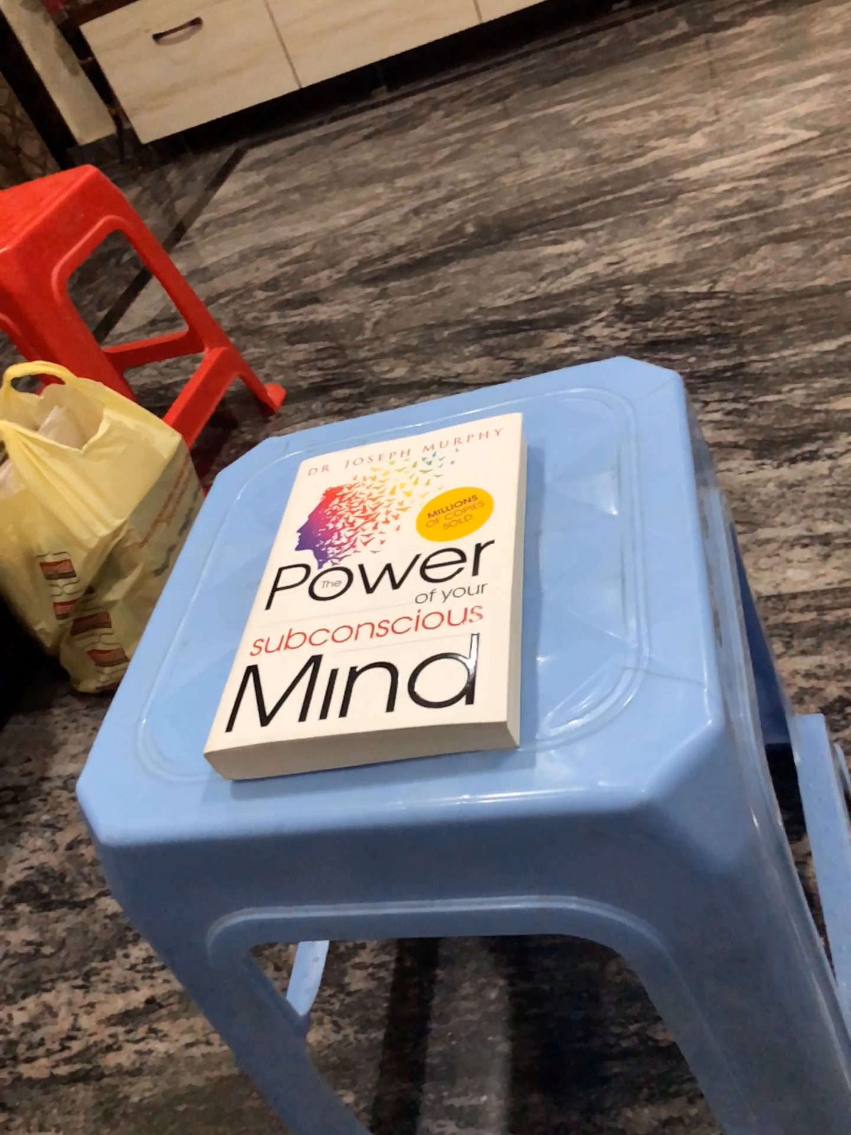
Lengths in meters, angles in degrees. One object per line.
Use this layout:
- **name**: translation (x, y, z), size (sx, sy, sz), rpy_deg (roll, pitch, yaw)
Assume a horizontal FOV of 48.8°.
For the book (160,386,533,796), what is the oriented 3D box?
- **book**: translation (-0.025, 0.002, 0.430), size (0.140, 0.030, 0.201), rpy_deg (-11, 42, 18)
